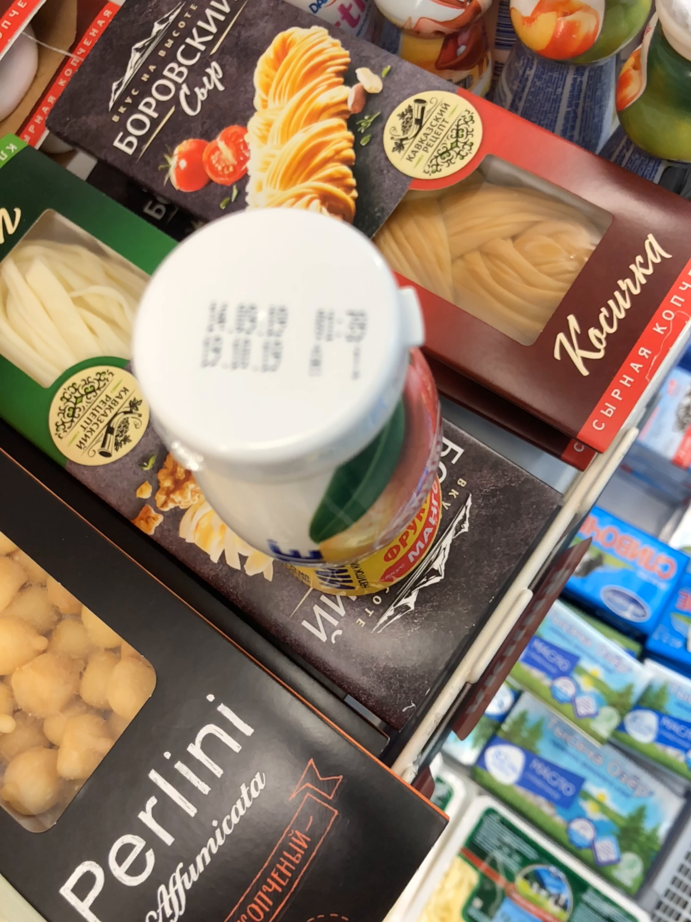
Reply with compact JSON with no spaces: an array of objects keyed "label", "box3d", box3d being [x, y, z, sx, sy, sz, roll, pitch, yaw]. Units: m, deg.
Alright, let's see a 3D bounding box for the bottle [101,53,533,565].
[{"label":"bottle","box3d":[0.002,-0.016,0.147,0.044,0.100,0.046,-2,73,6]}]
